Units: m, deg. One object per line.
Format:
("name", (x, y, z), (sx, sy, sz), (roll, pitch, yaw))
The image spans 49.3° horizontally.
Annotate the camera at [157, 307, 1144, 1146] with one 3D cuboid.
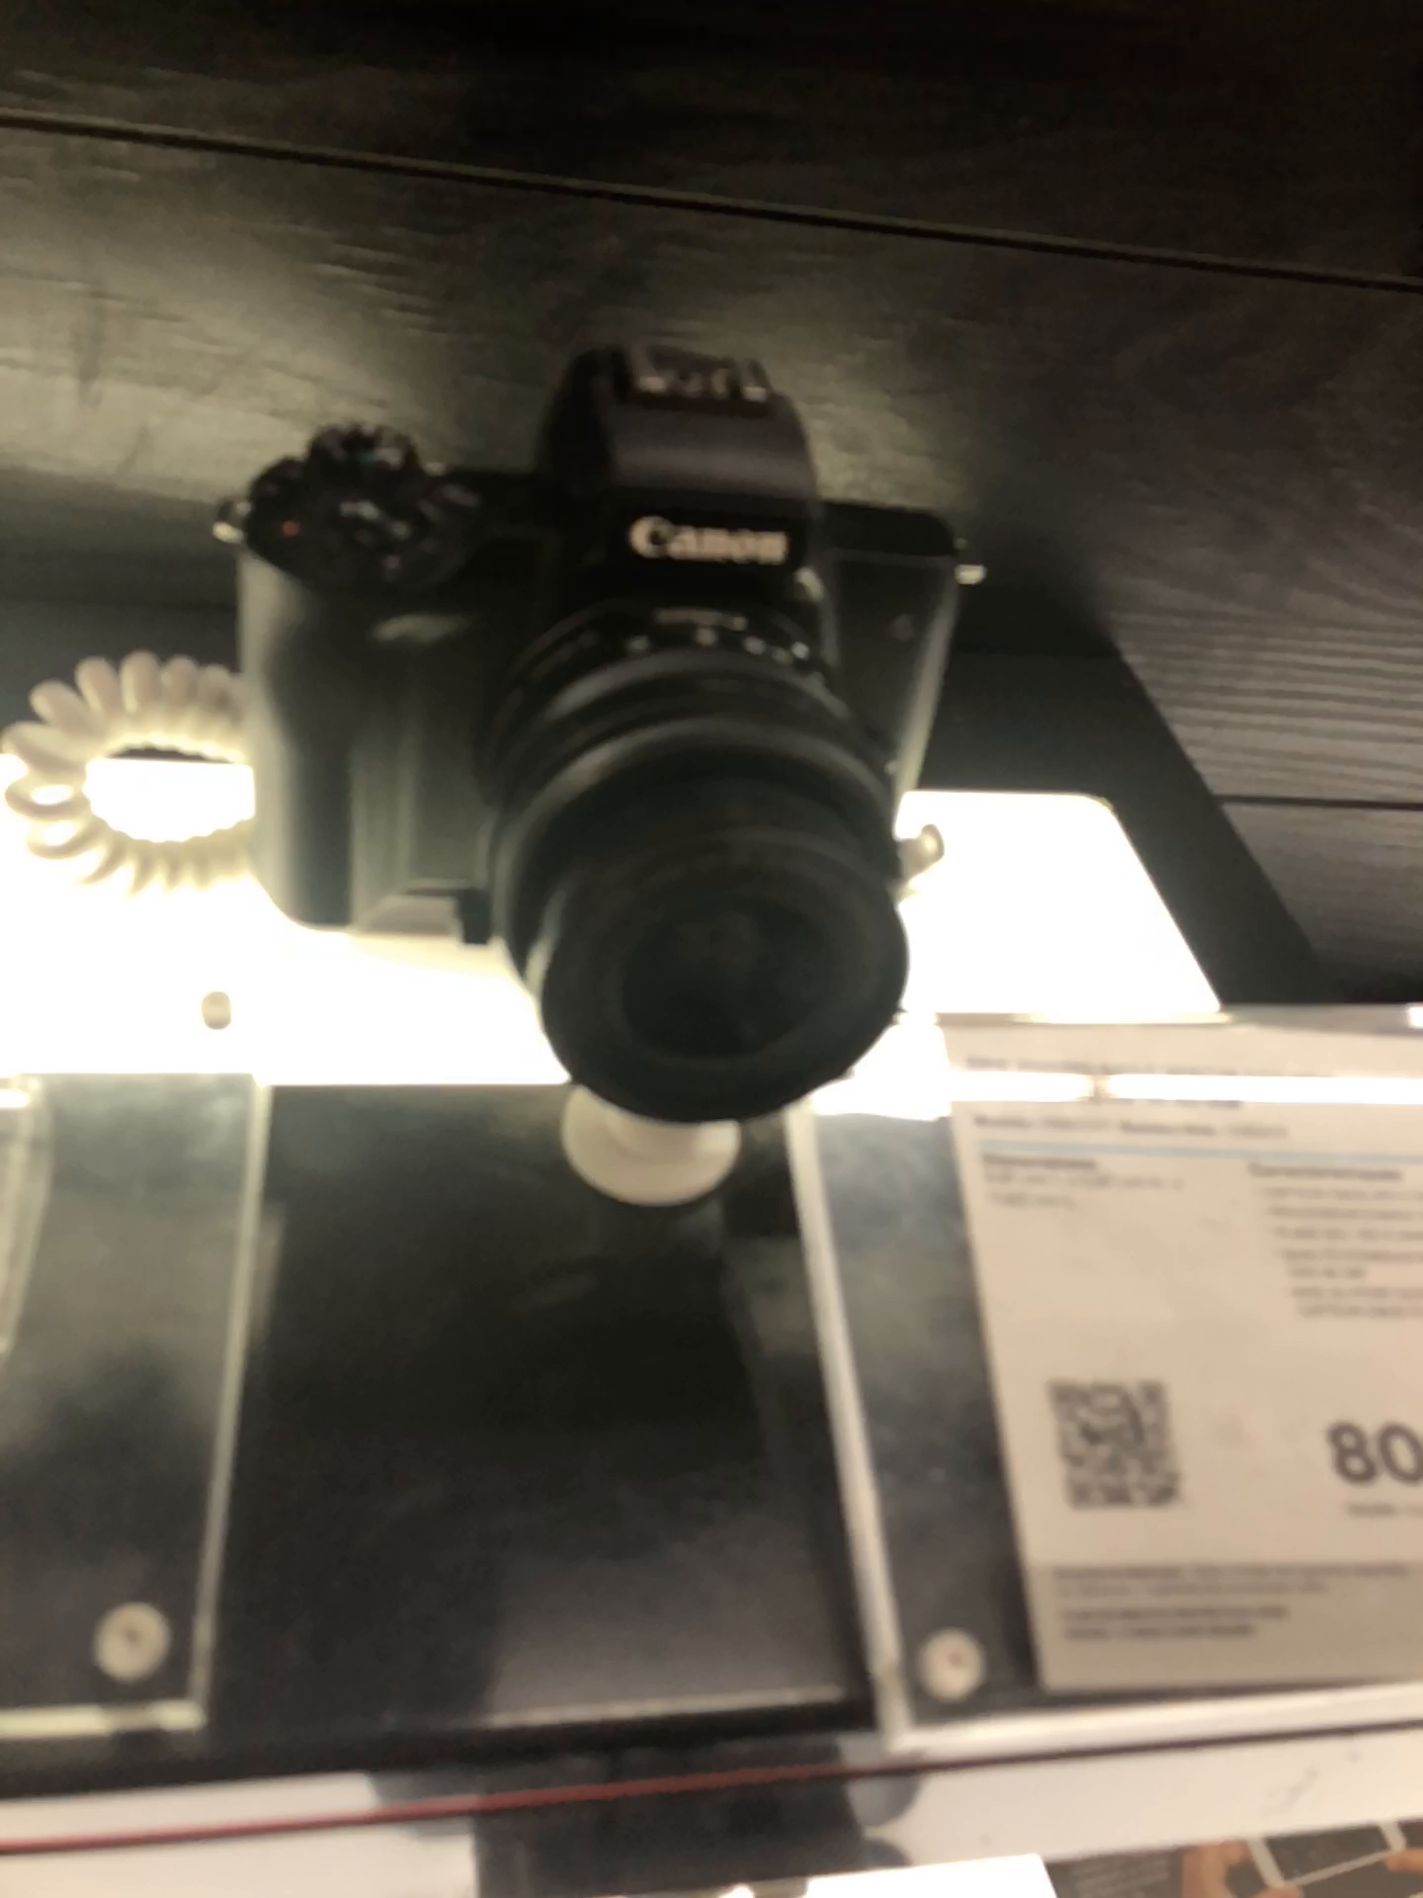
("camera", (-0.017, -0.037, 0.250), (0.119, 0.089, 0.101), (1, 37, -12))
